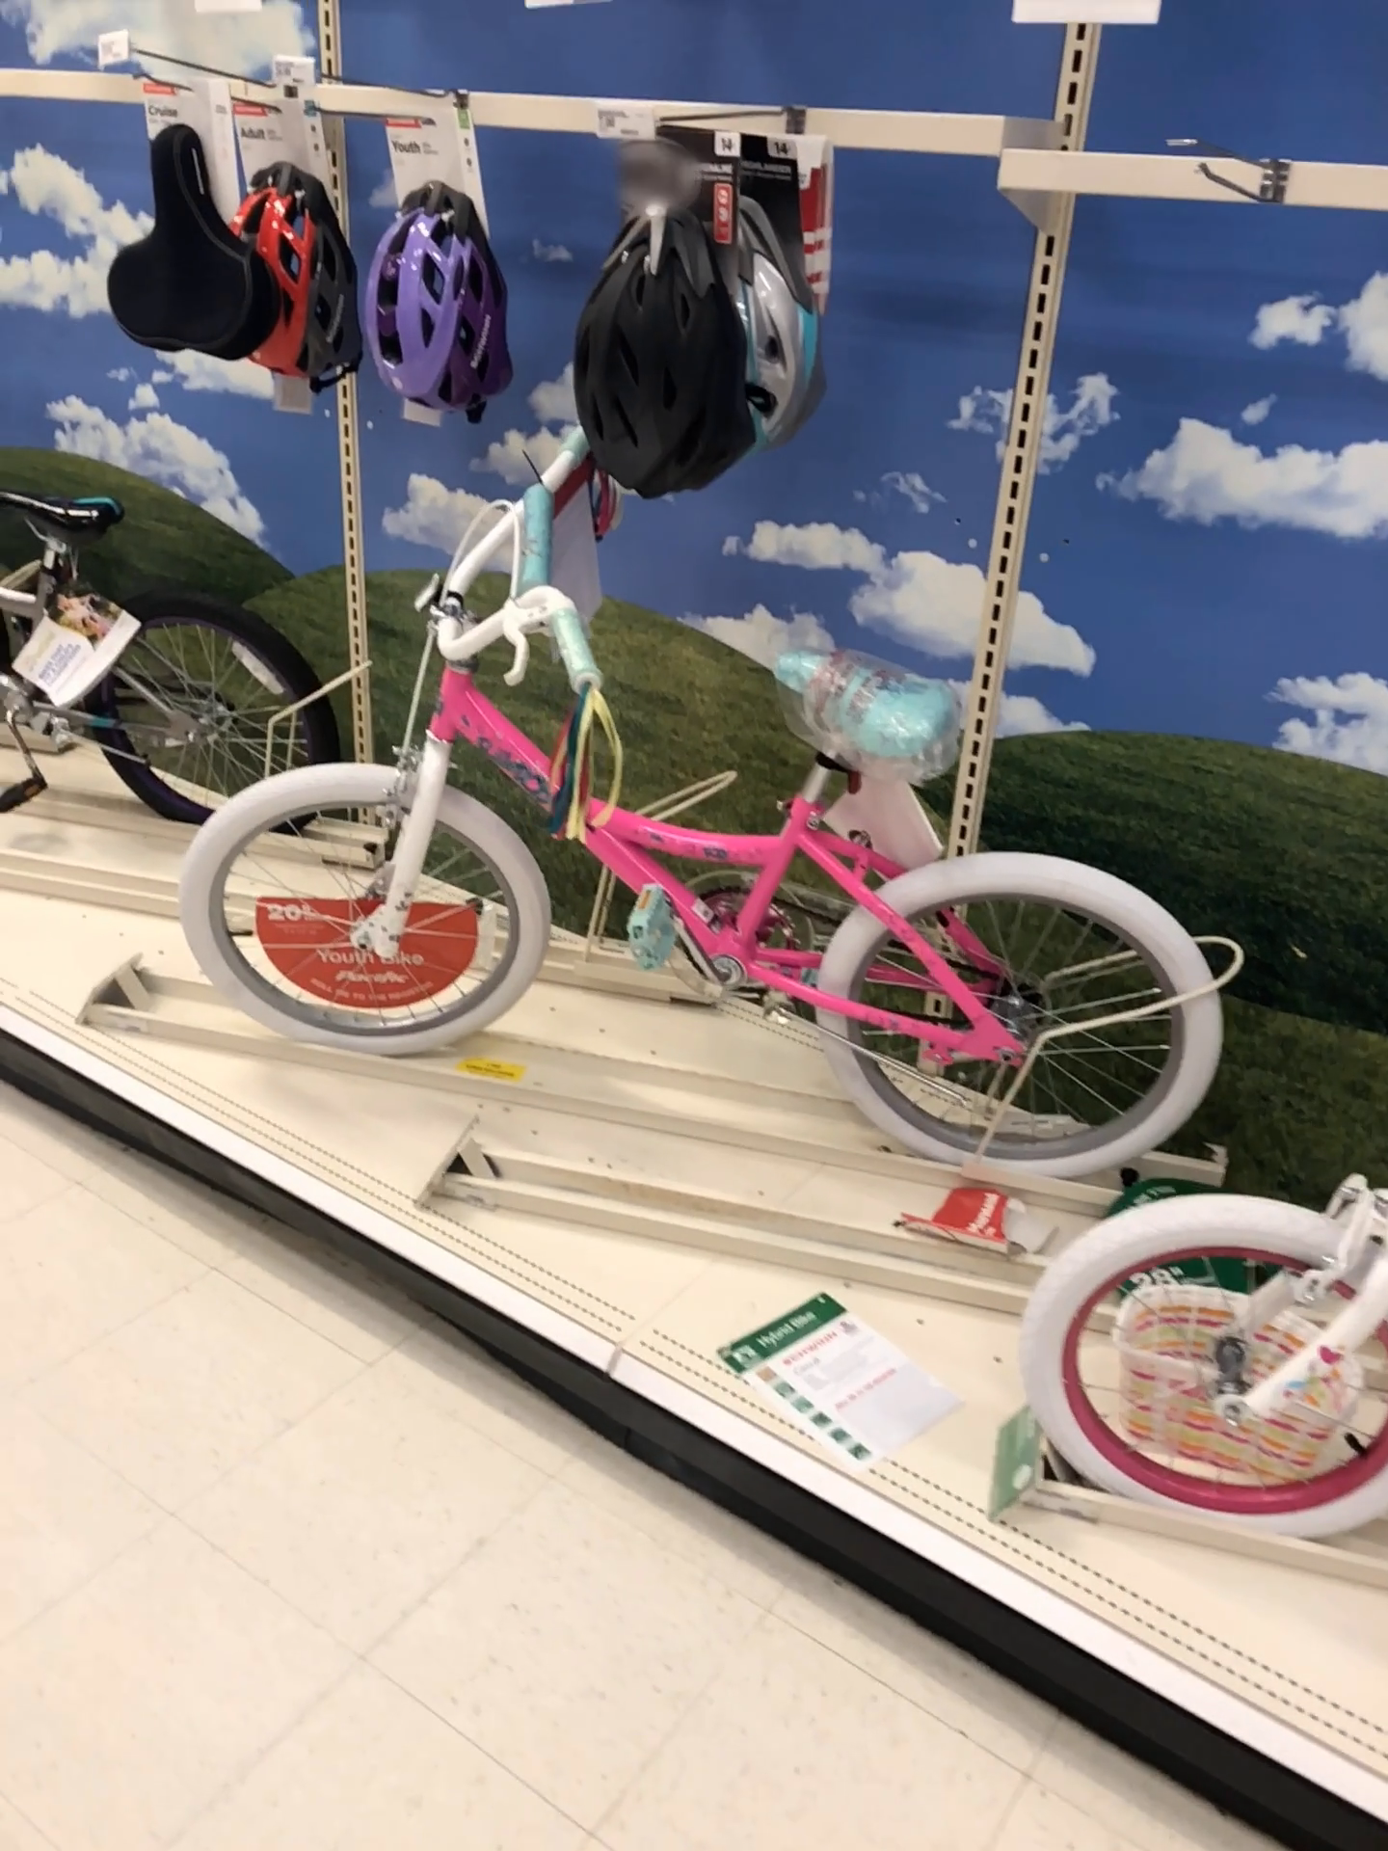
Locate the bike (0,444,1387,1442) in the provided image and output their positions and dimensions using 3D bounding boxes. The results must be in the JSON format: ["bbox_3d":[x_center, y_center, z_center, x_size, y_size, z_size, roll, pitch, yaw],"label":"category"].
[{"bbox_3d":[-0.011,-0.069,1.913,1.346,0.882,0.730,7,26,12],"label":"bike"}]
